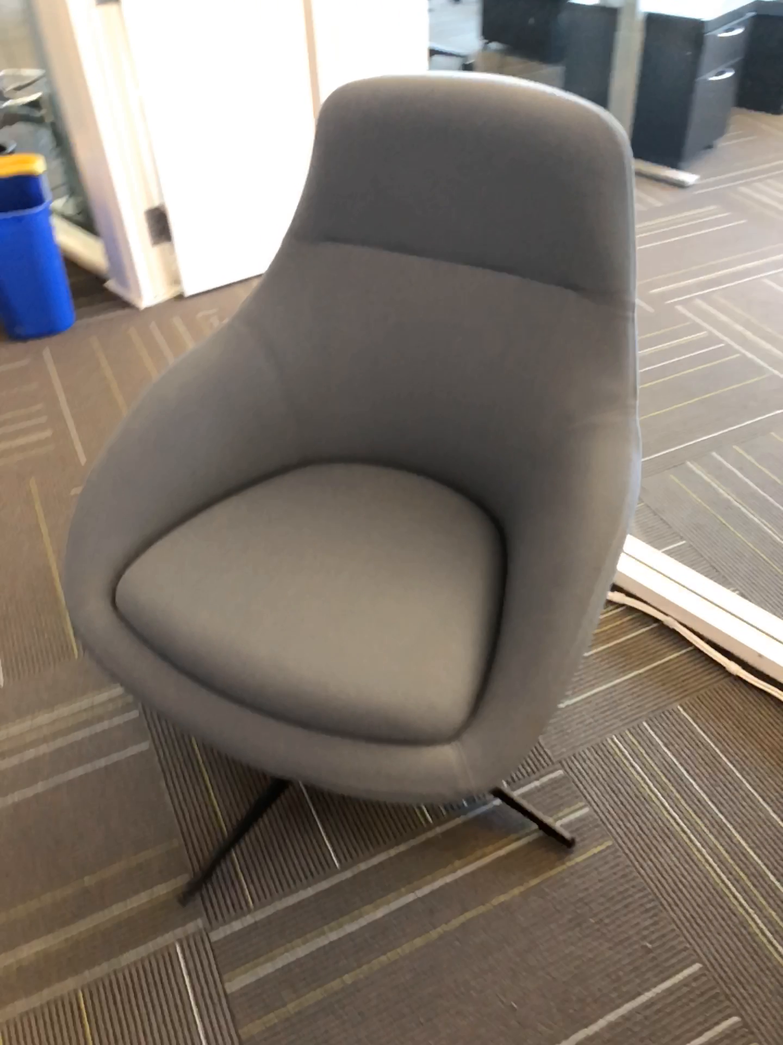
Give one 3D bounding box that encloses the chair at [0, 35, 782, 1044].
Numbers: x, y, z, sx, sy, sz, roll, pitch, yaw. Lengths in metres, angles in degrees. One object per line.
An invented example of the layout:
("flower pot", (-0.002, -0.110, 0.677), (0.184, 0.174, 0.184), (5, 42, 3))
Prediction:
("chair", (-0.067, -0.027, 1.314), (0.932, 0.995, 0.963), (20, 47, 23))
